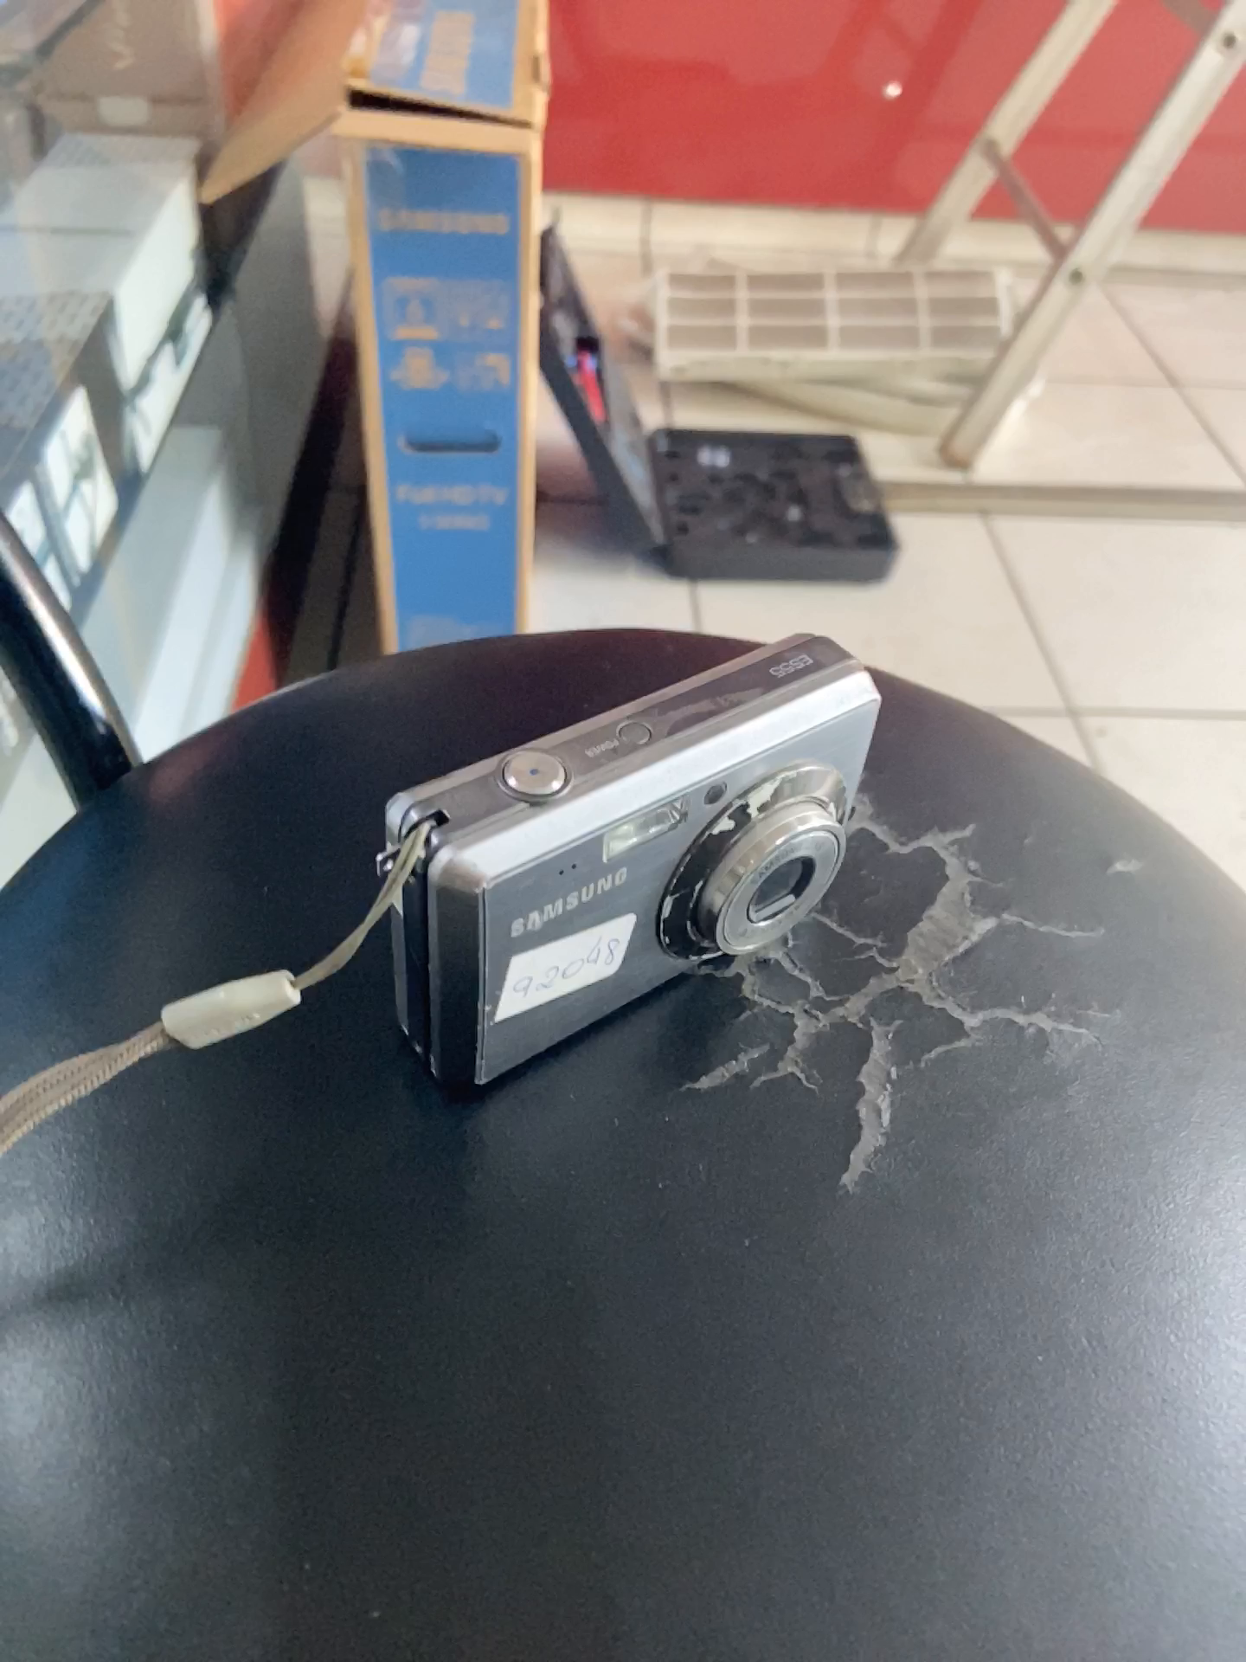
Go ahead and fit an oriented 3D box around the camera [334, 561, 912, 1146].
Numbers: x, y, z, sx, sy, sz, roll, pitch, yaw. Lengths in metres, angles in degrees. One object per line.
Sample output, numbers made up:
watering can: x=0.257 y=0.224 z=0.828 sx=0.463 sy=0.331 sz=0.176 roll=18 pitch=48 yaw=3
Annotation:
camera: x=0.000 y=0.002 z=0.240 sx=0.090 sy=0.070 sz=0.040 roll=-25 pitch=52 yaw=-28
